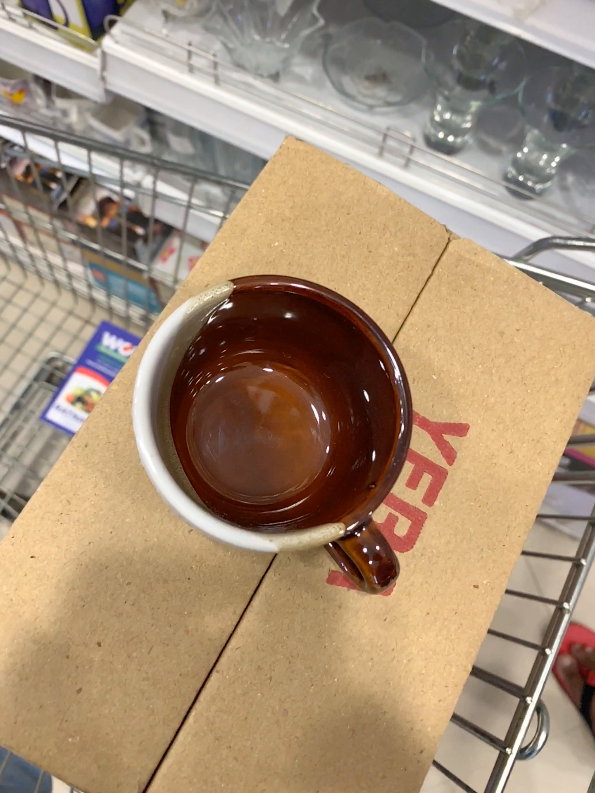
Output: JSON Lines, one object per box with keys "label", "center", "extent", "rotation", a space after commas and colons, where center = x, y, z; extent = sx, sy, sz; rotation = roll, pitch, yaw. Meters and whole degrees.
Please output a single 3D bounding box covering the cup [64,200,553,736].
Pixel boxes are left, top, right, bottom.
{"label": "cup", "center": [-0.001, 0.017, 0.163], "extent": [0.060, 0.060, 0.100], "rotation": [-34, 84, -13]}
